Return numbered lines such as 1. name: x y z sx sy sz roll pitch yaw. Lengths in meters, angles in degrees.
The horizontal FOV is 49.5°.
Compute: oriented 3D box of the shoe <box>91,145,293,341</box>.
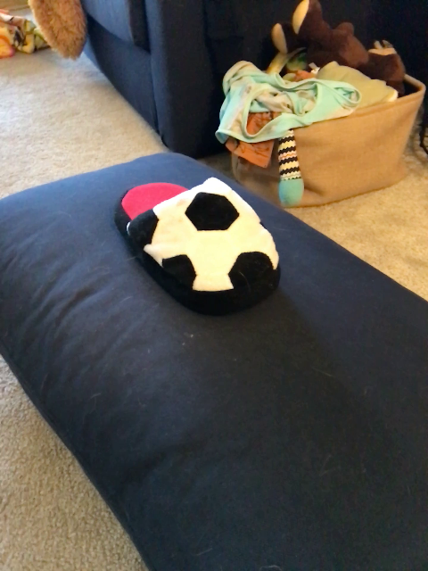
1. shoe: -0.031 -0.057 0.481 0.108 0.072 0.213 -24 47 -22
